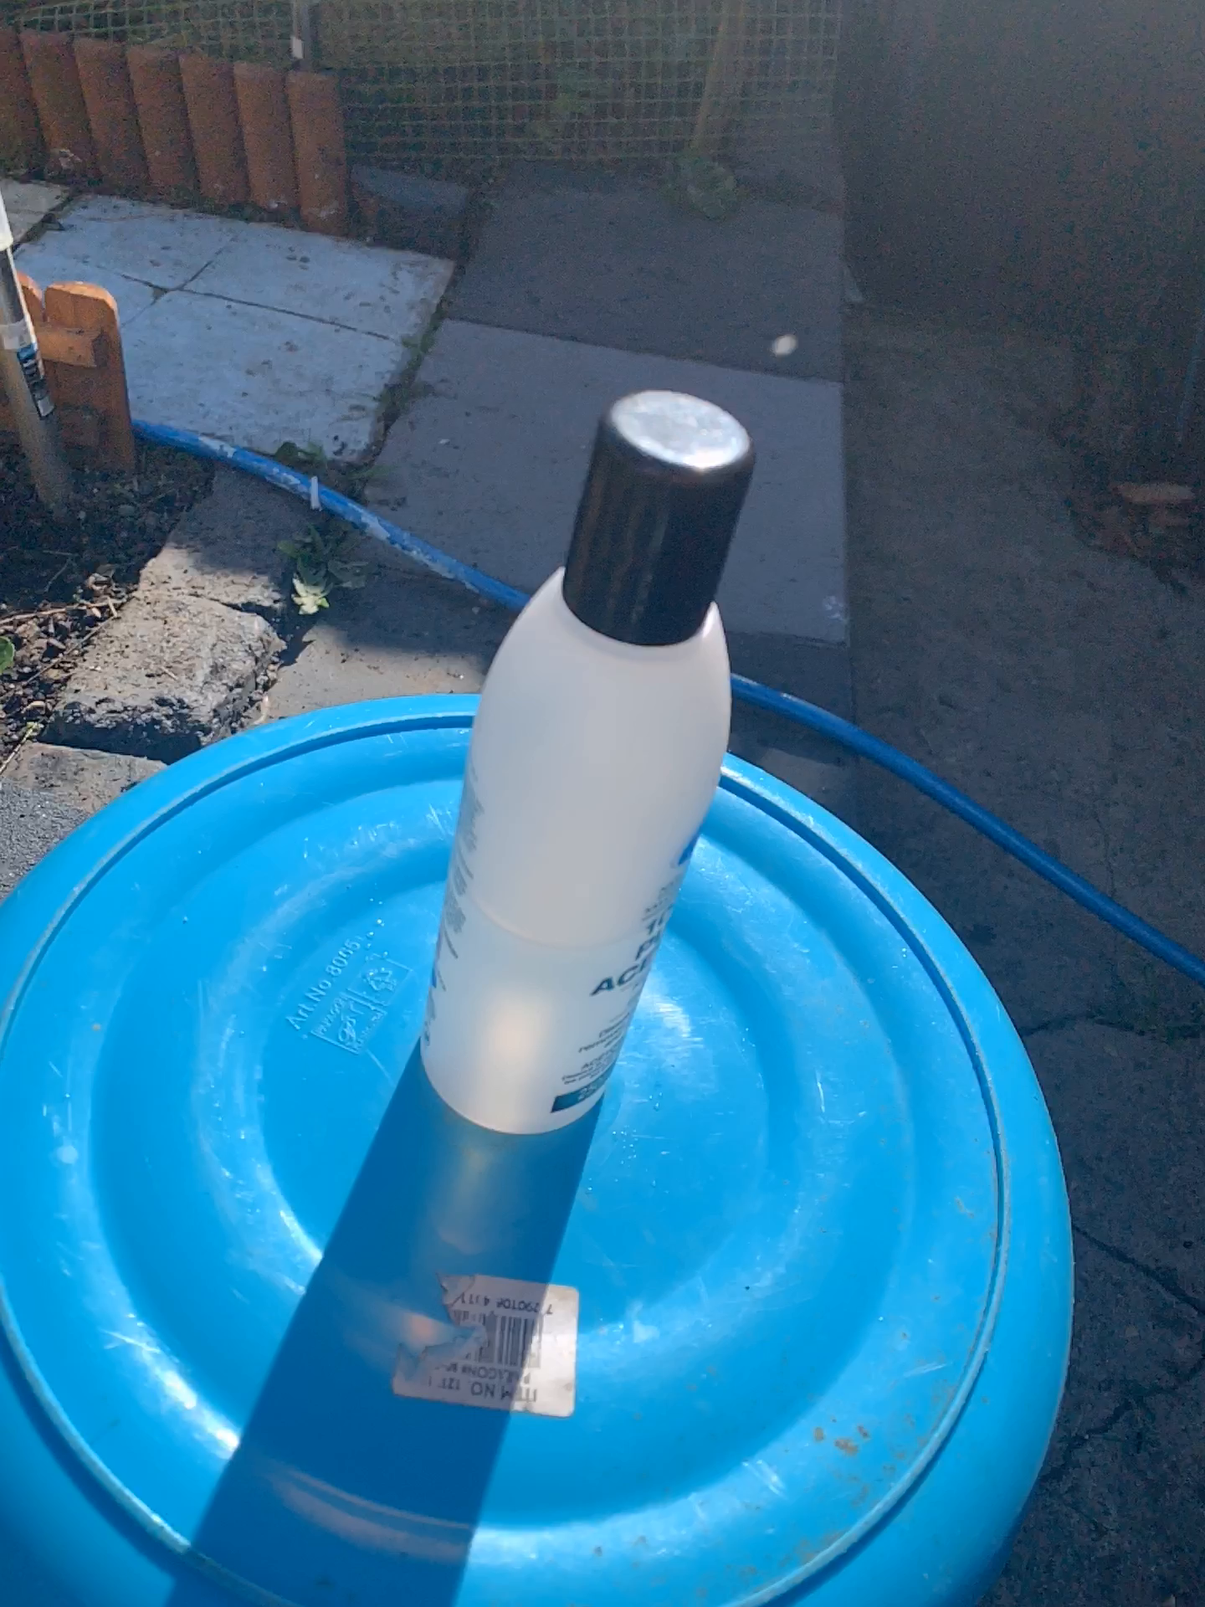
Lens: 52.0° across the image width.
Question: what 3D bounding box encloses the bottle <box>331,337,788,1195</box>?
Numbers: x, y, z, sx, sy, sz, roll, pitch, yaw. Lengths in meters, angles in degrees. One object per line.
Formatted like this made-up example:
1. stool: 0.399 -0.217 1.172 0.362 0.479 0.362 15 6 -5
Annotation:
1. bottle: -0.014 0.006 0.260 0.060 0.178 0.061 5 46 -5
